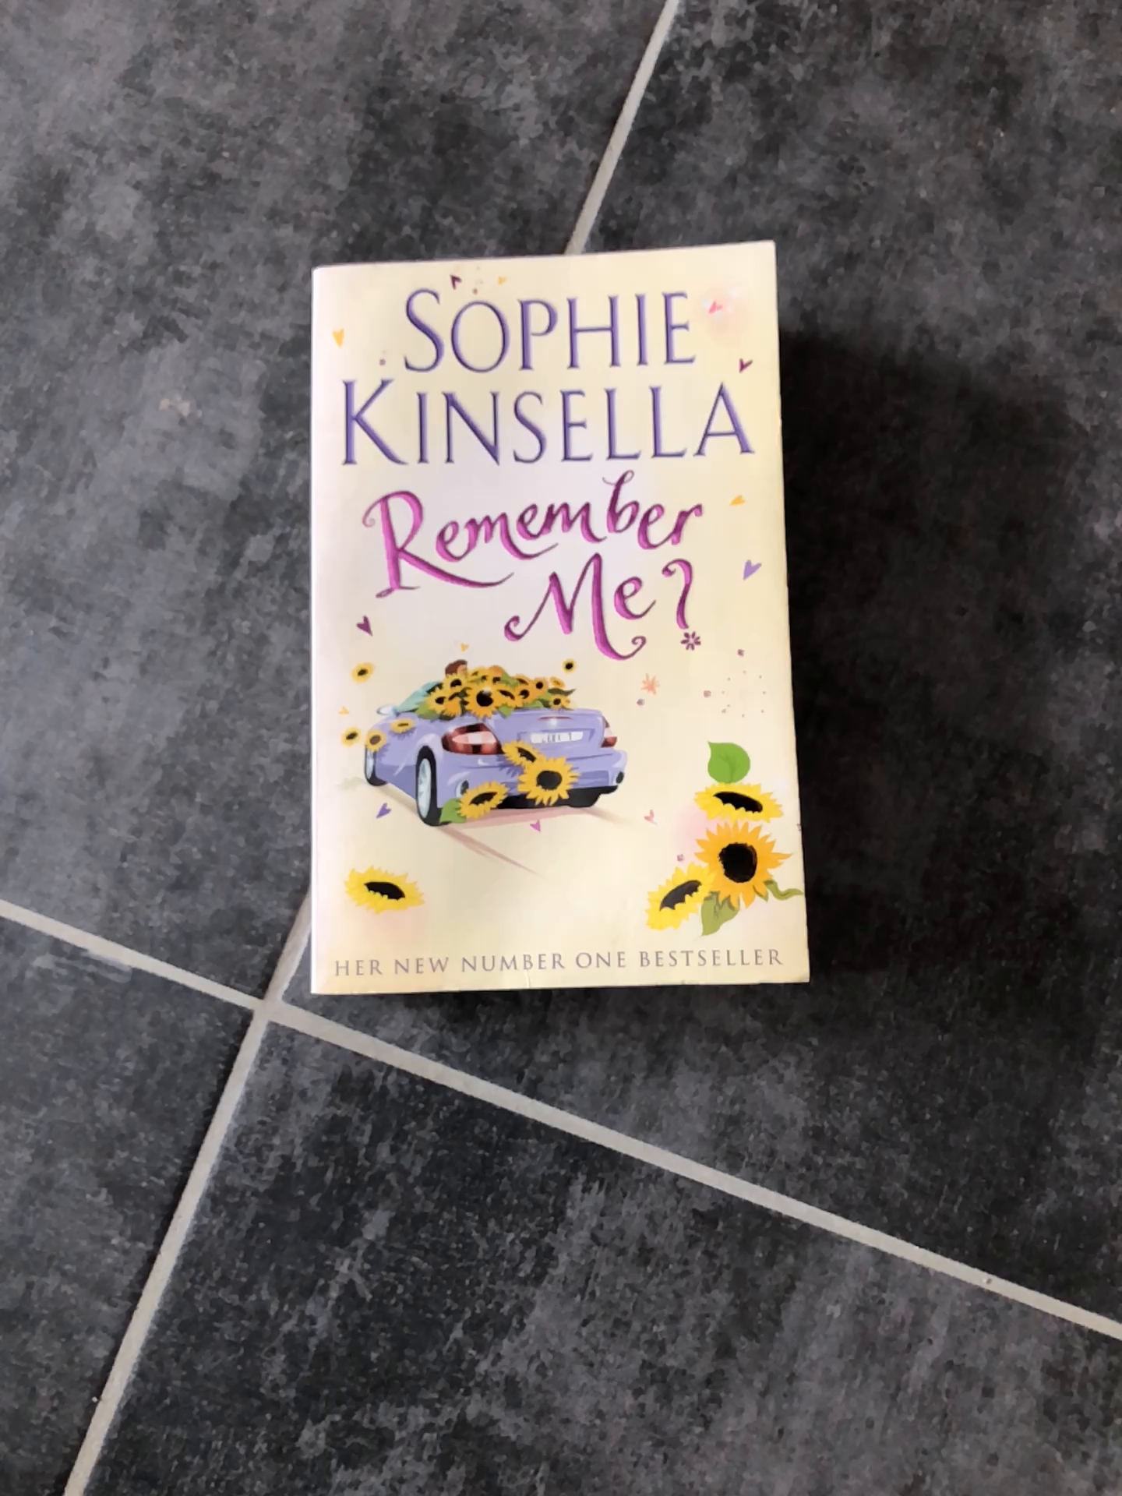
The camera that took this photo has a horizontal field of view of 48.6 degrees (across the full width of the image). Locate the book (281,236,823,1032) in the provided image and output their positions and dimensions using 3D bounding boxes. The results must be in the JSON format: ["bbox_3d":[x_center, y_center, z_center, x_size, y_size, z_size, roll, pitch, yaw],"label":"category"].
[{"bbox_3d":[-0.004,-0.029,0.331,0.130,0.040,0.200,-1,82,3],"label":"book"}]
